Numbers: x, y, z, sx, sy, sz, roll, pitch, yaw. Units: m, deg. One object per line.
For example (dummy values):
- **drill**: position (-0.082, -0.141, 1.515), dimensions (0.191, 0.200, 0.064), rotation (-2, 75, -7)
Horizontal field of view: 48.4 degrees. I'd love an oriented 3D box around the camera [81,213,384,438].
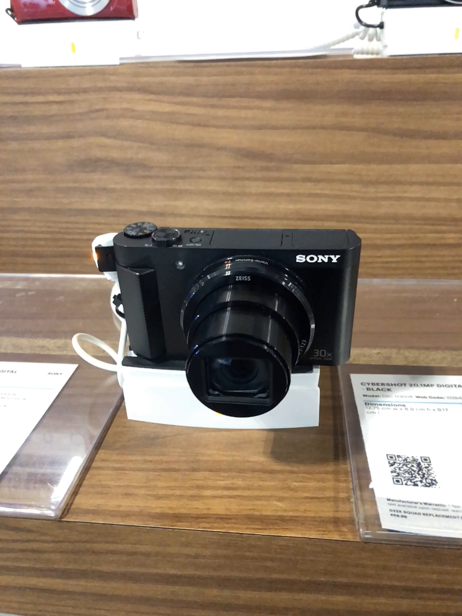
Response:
- **camera**: position (0.003, 0.003, 0.210), dimensions (0.100, 0.070, 0.060), rotation (1, 24, 7)
